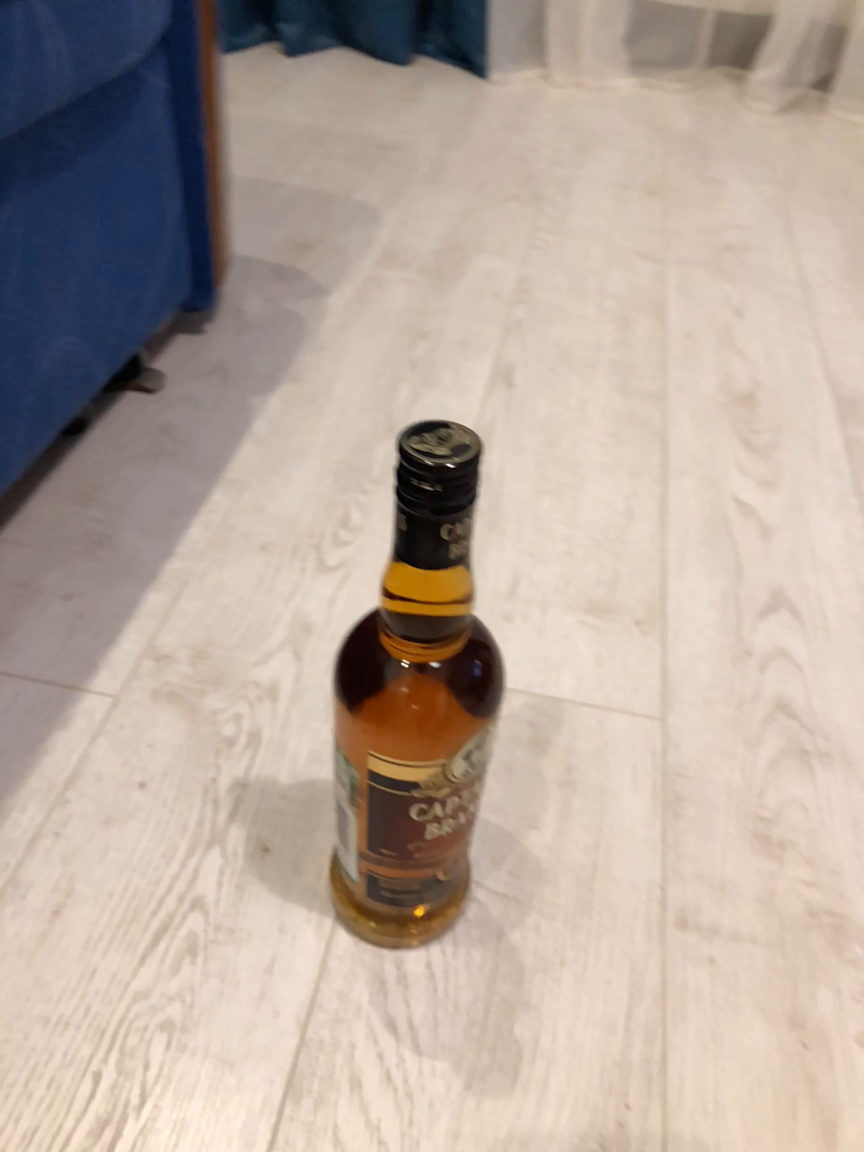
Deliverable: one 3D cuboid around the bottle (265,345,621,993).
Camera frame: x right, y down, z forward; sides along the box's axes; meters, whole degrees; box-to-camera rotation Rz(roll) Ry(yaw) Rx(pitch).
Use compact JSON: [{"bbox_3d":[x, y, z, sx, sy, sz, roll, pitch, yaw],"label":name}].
[{"bbox_3d":[-0.006,0.051,0.386,0.080,0.257,0.080,3,40,-3],"label":"bottle"}]
